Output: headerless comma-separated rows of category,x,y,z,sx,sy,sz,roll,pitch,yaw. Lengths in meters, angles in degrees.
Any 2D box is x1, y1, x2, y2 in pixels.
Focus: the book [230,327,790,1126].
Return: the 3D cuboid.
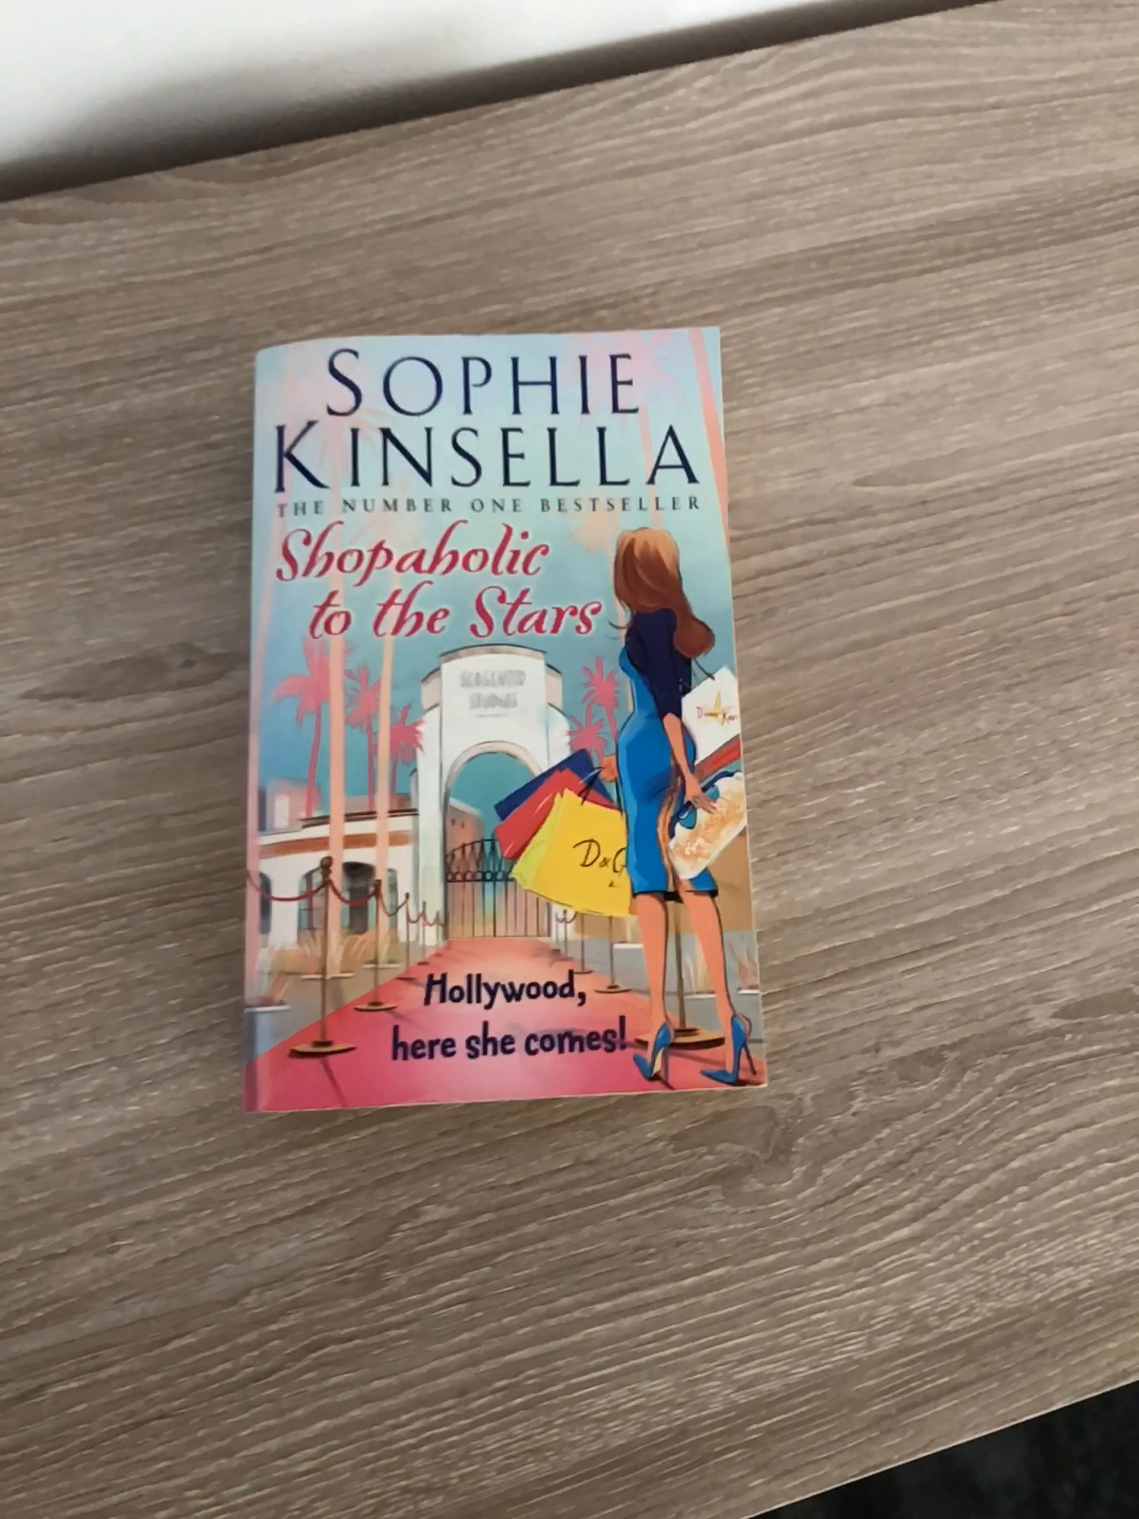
book,-0.018,-0.012,0.333,0.130,0.040,0.200,-2,78,-4
